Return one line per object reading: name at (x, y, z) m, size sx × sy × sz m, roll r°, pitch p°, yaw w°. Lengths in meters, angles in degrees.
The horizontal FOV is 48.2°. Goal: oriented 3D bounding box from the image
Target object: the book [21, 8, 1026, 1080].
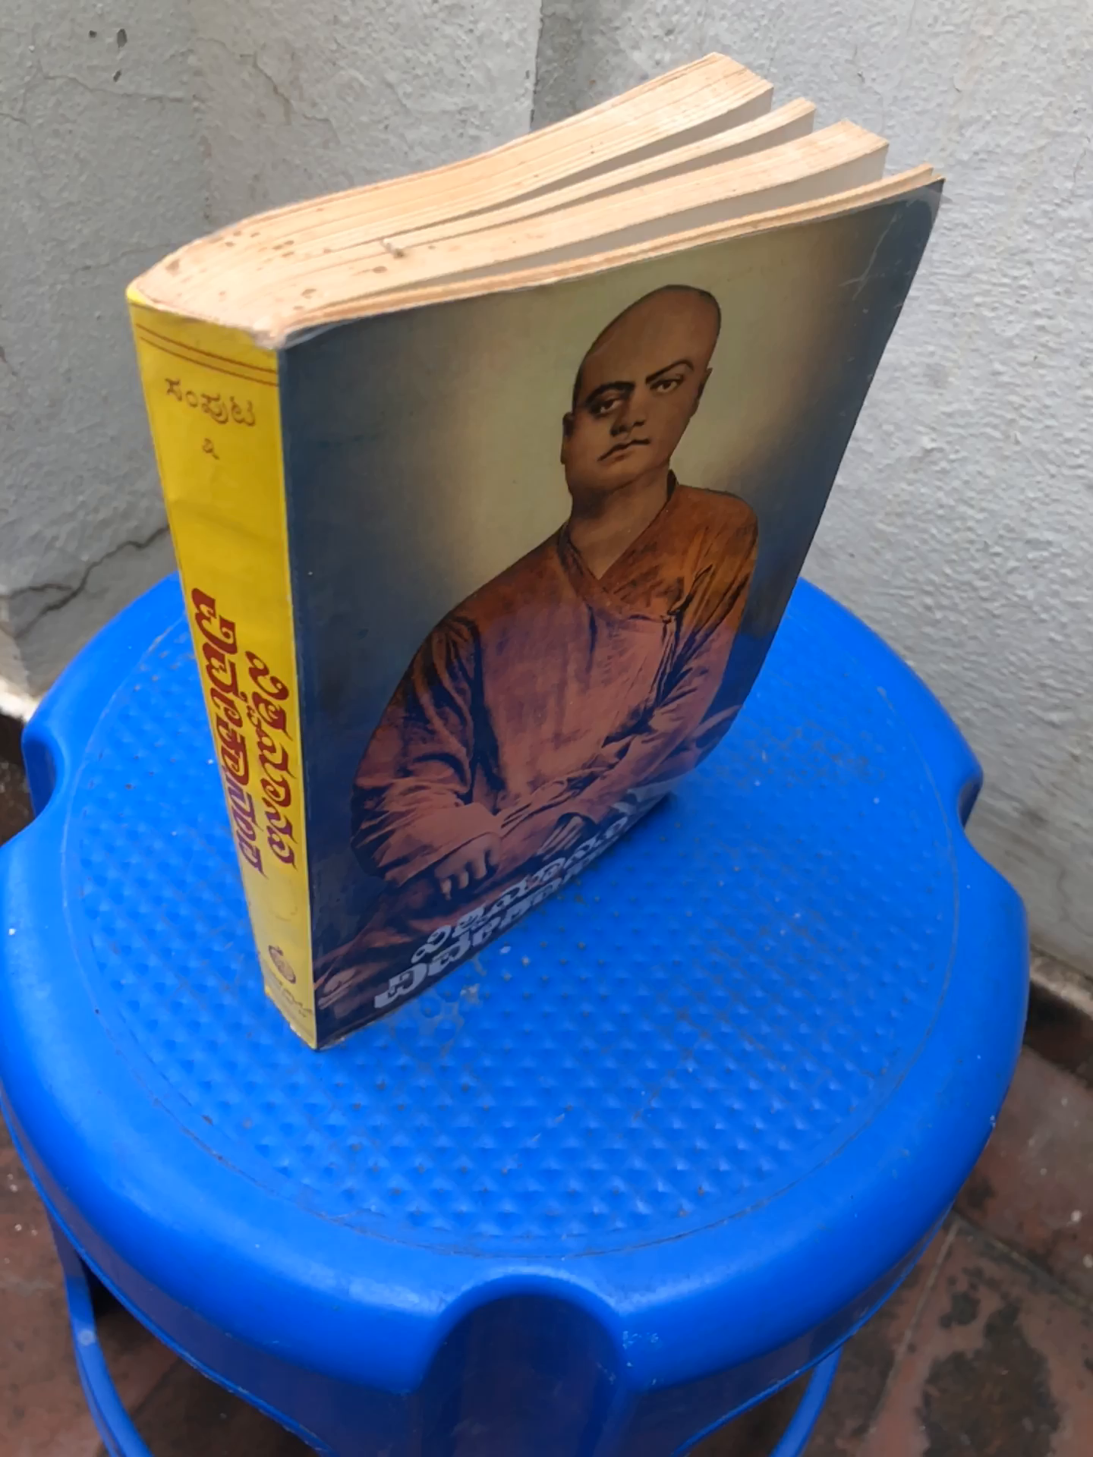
book at (0.002, -0.037, 0.288) m, size 0.190 × 0.199 × 0.050 m, roll -30°, pitch 57°, yaw -29°
